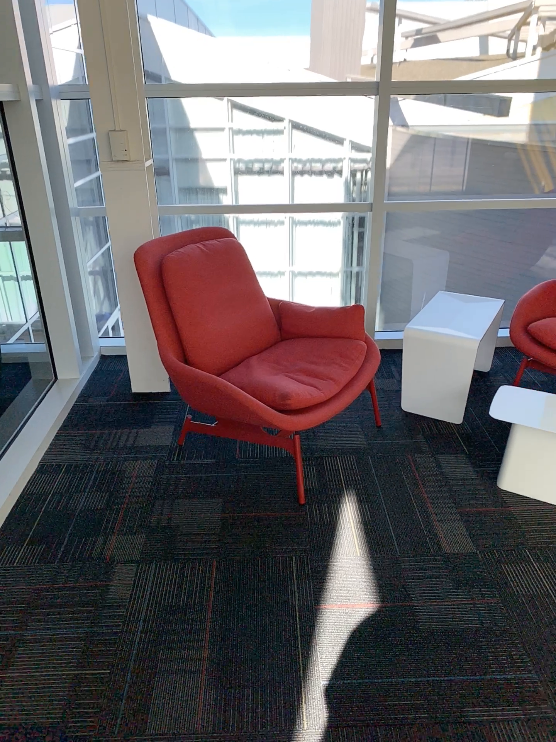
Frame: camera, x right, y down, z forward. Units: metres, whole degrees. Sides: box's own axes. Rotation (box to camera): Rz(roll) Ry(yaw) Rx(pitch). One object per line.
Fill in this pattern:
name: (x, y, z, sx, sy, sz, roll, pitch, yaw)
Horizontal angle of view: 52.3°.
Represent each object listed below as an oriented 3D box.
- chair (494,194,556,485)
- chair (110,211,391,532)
chair: (1.713, -0.243, 2.753, 0.873, 0.994, 0.922, 17, 32, 33)
chair: (-0.080, -0.083, 2.609, 0.822, 1.054, 0.872, 16, 31, 31)
